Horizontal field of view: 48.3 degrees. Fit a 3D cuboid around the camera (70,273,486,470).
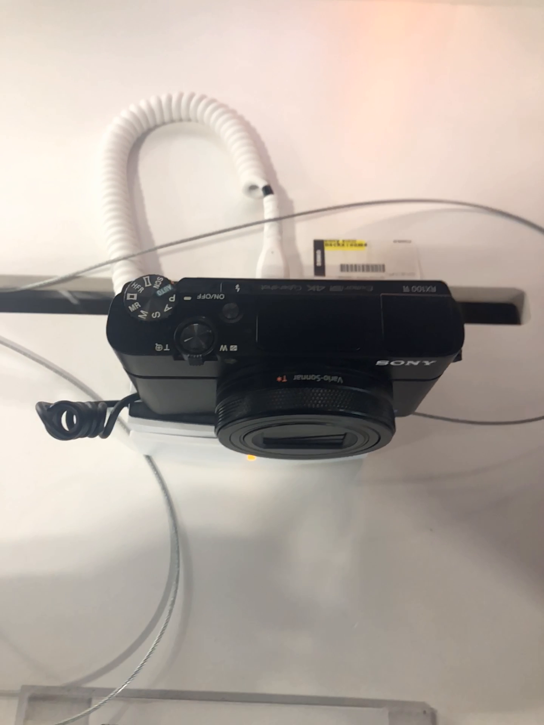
[{"bbox_3d":[0.001,0.006,0.194,0.109,0.060,0.040,1,64,-1],"label":"camera"}]
